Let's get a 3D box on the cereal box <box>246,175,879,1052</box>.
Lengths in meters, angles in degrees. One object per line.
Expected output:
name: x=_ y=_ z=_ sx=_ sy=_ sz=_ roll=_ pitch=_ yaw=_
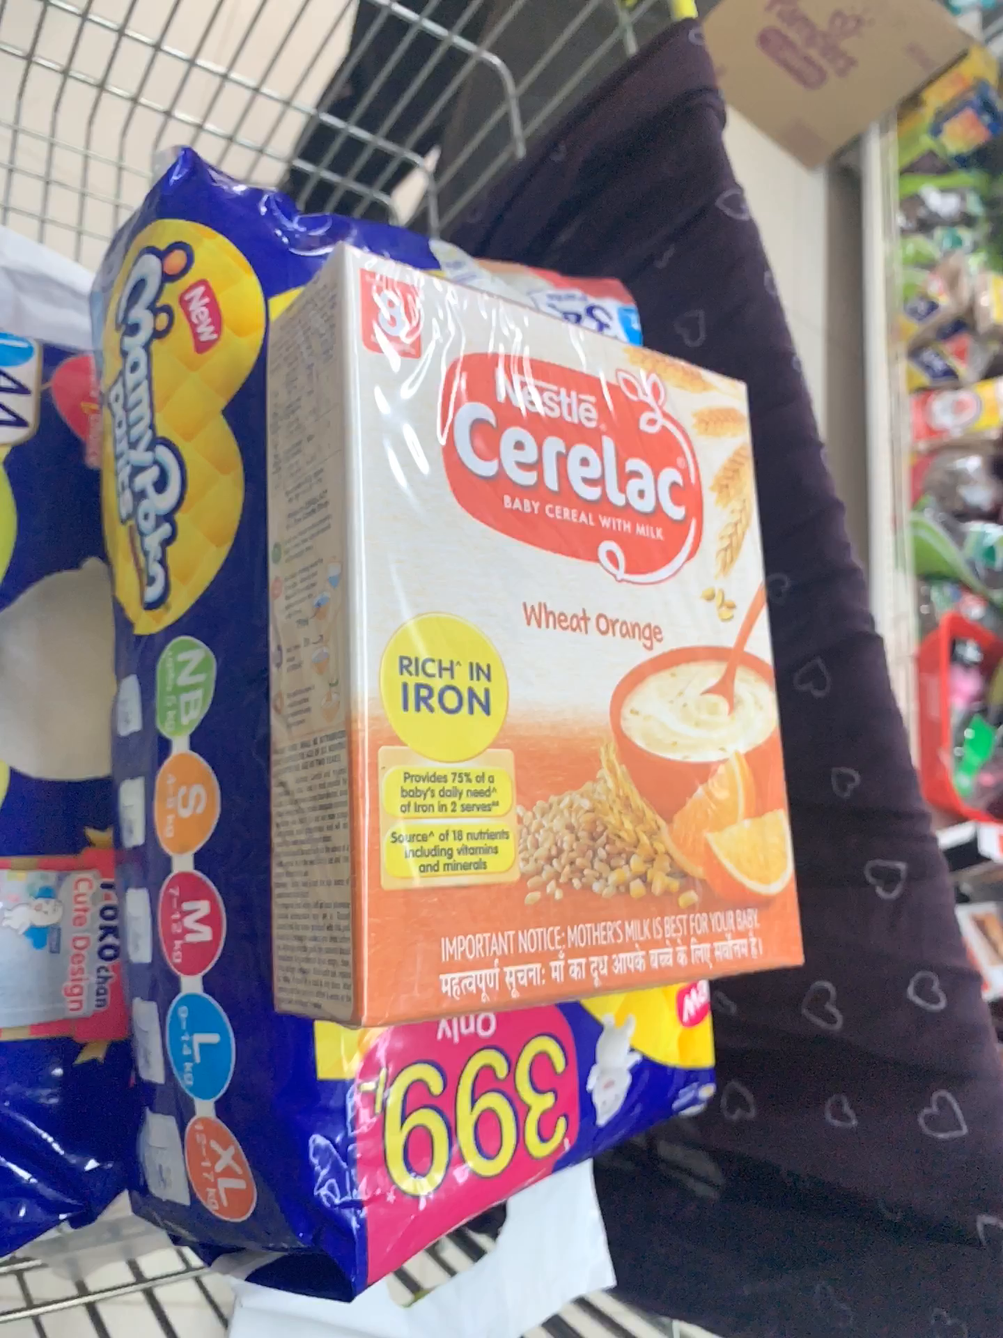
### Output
cereal box: x=0.020 y=-0.009 z=0.289 sx=0.171 sy=0.050 sz=0.190 roll=5 pitch=77 yaw=-35
